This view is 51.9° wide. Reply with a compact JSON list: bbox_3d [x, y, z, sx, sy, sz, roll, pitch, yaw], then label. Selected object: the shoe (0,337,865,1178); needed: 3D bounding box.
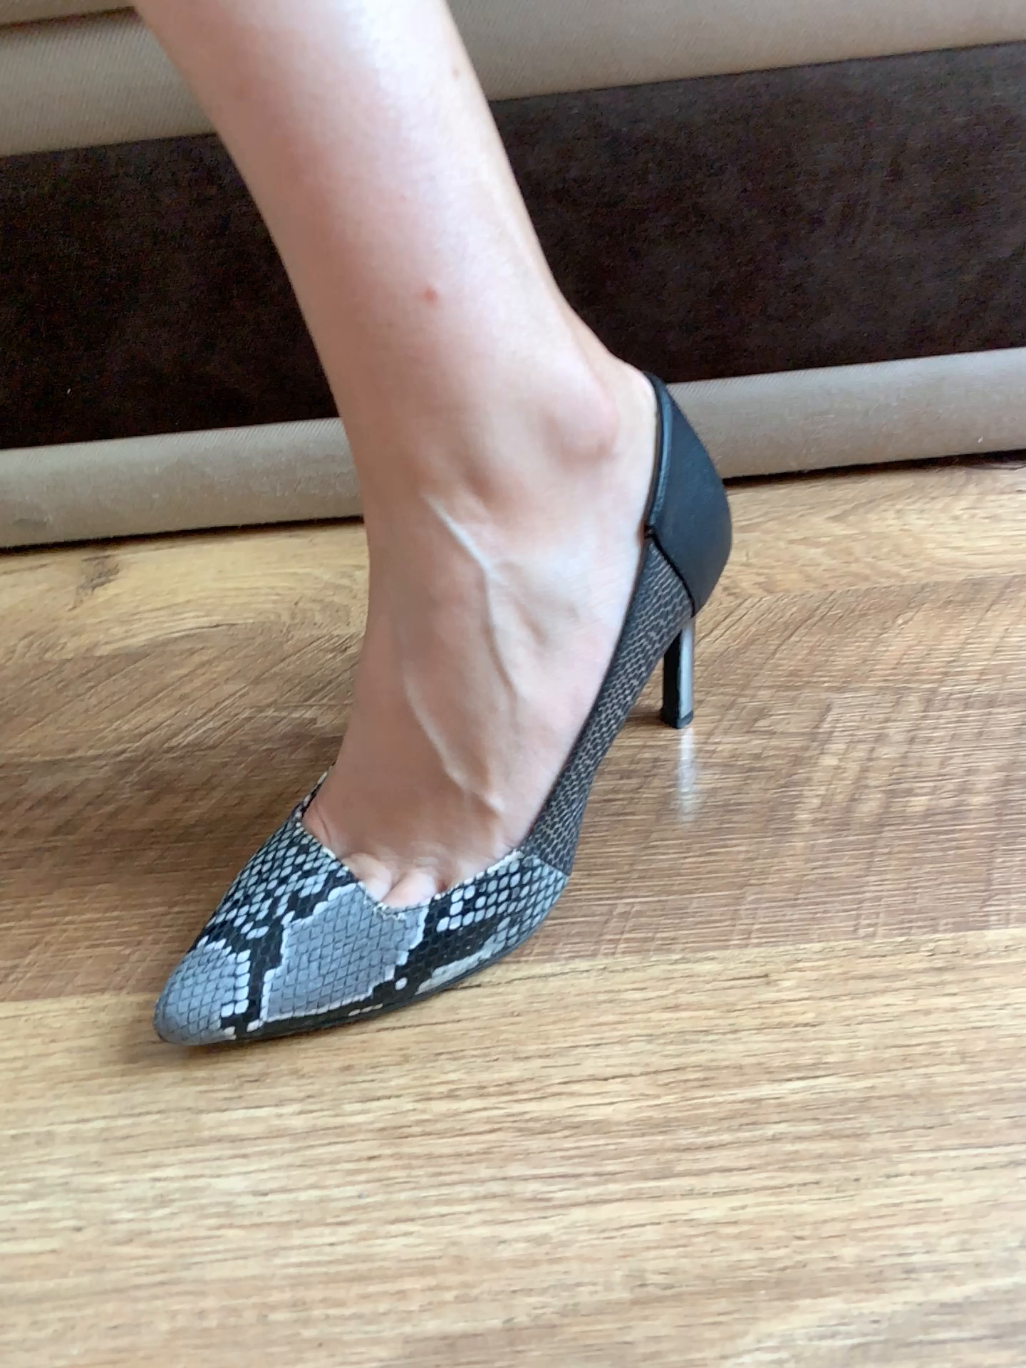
[{"bbox_3d":[-0.015,-0.001,0.309,0.250,0.109,0.090,-32,44,-29],"label":"shoe"}]
